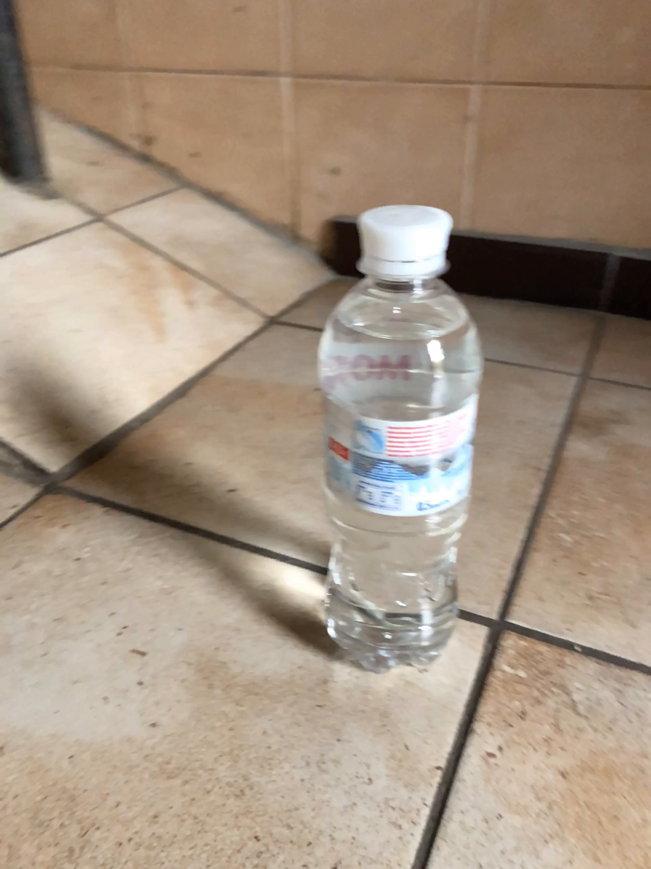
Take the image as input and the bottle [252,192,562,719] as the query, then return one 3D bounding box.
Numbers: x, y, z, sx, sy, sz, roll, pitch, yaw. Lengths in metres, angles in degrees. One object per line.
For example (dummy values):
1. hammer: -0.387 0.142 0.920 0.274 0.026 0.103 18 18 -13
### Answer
1. bottle: 0.031 0.010 0.314 0.080 0.199 0.080 -1 31 0
